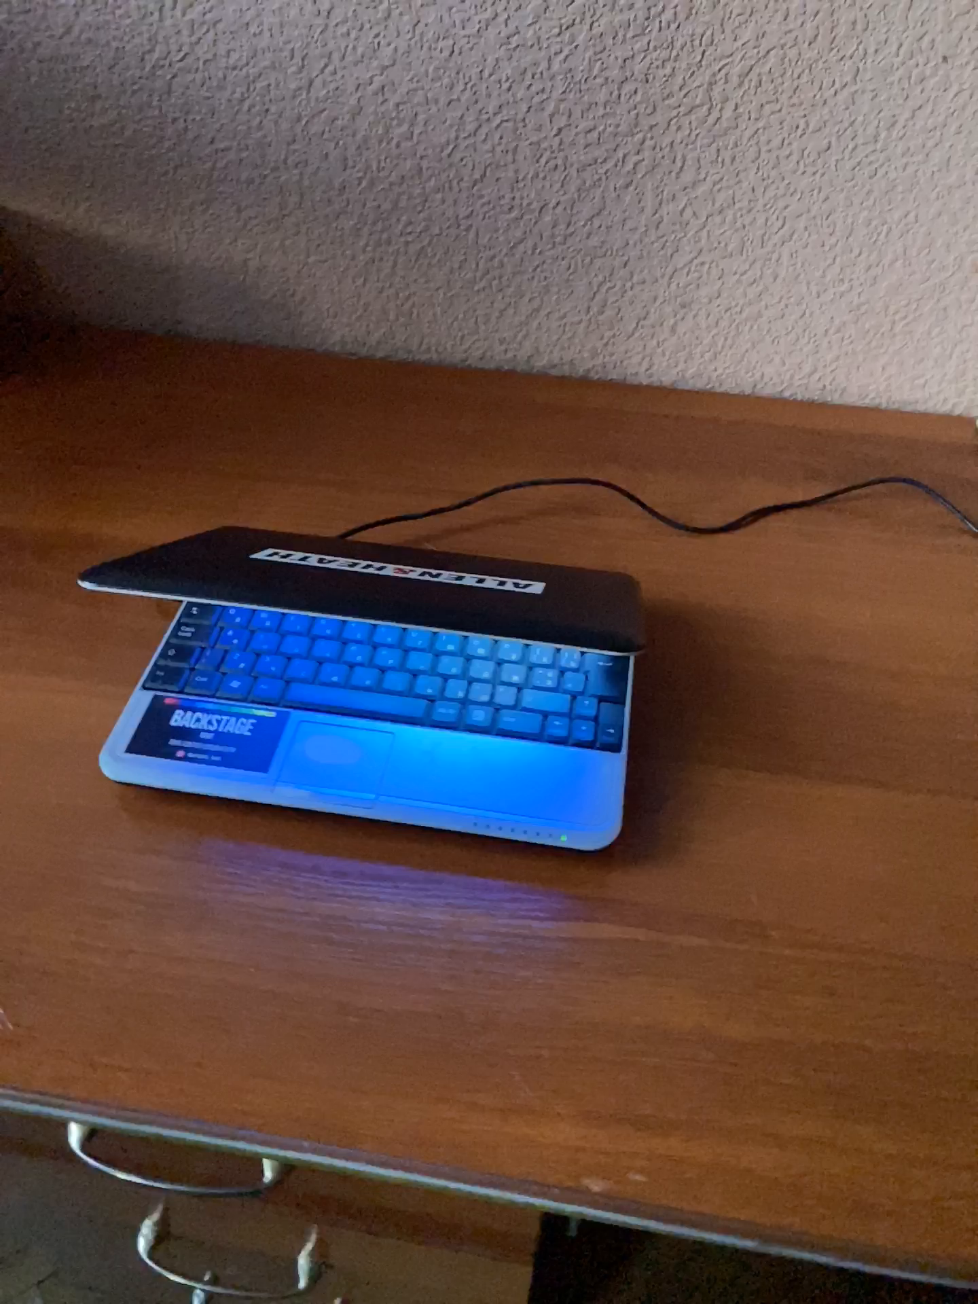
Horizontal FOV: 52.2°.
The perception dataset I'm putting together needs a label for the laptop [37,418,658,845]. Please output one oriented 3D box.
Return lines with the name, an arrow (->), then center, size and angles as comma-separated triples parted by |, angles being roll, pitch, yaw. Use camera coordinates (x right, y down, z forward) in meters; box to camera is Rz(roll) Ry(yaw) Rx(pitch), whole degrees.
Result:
laptop -> -0.057, -0.020, 0.520 | 0.266, 0.088, 0.173 | 8, 47, 7
